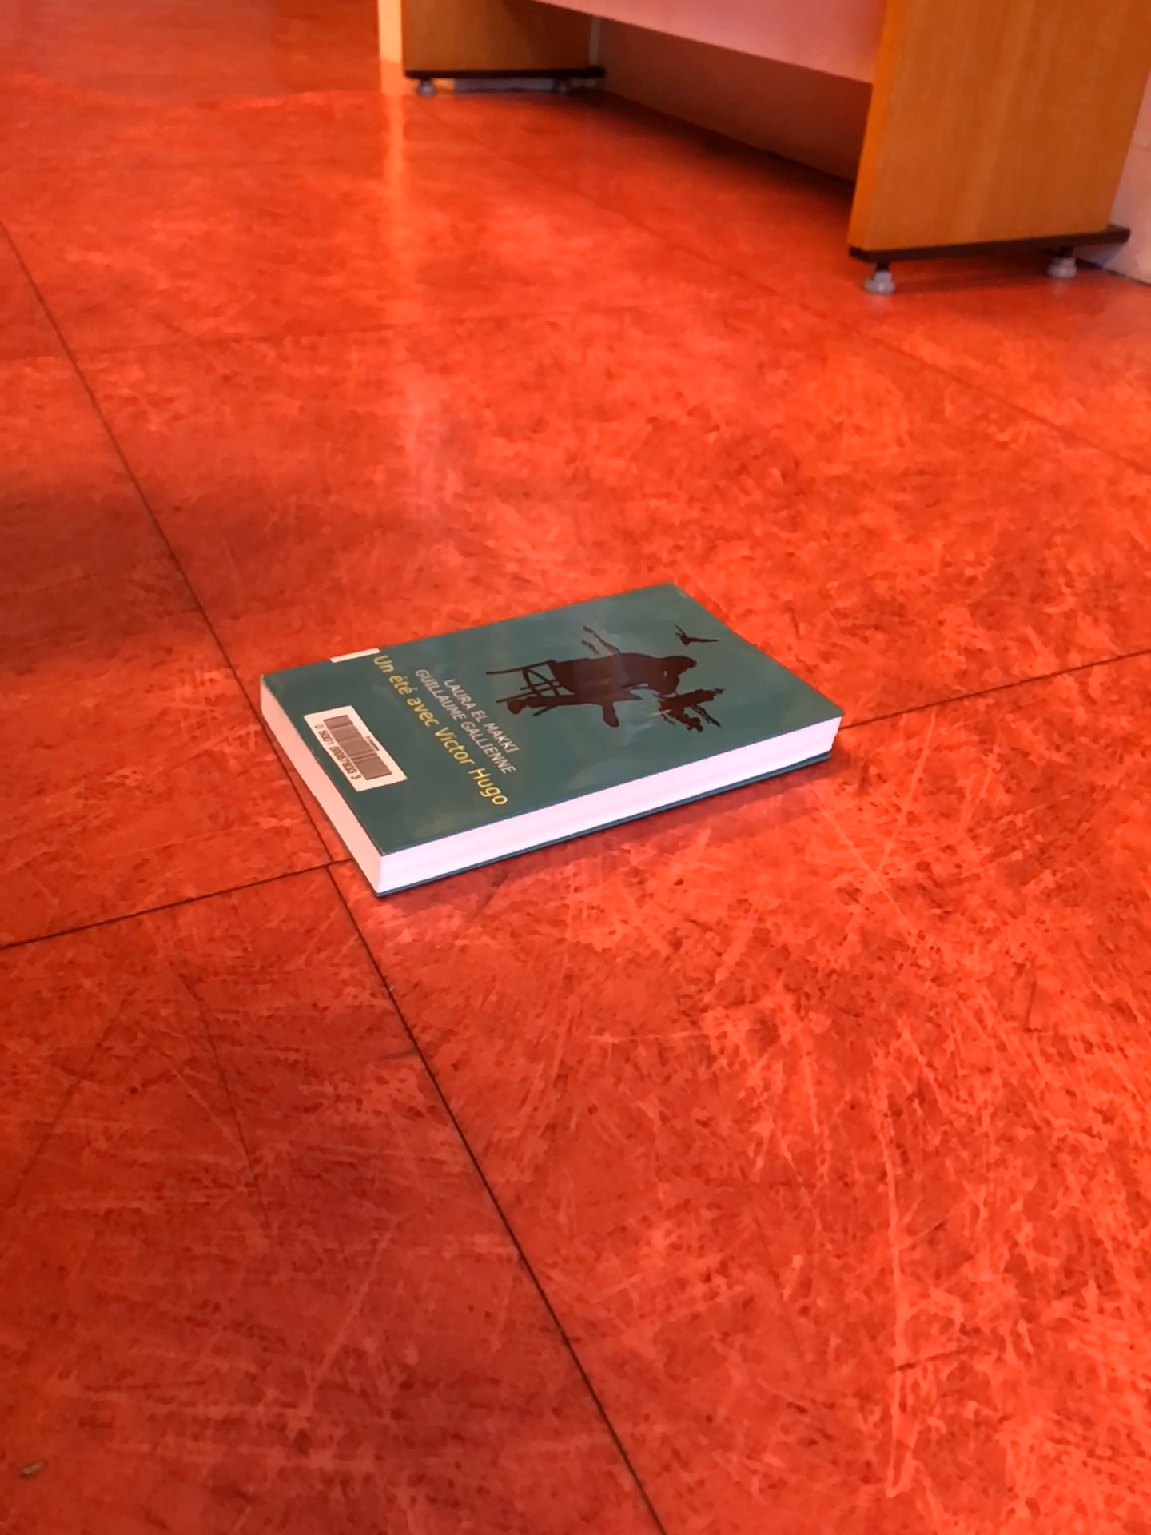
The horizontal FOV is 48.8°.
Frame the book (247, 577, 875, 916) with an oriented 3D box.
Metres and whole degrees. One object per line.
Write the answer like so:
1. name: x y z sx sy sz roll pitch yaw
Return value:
1. book: -0.006 -0.016 0.413 0.171 0.020 0.110 -15 38 -25
